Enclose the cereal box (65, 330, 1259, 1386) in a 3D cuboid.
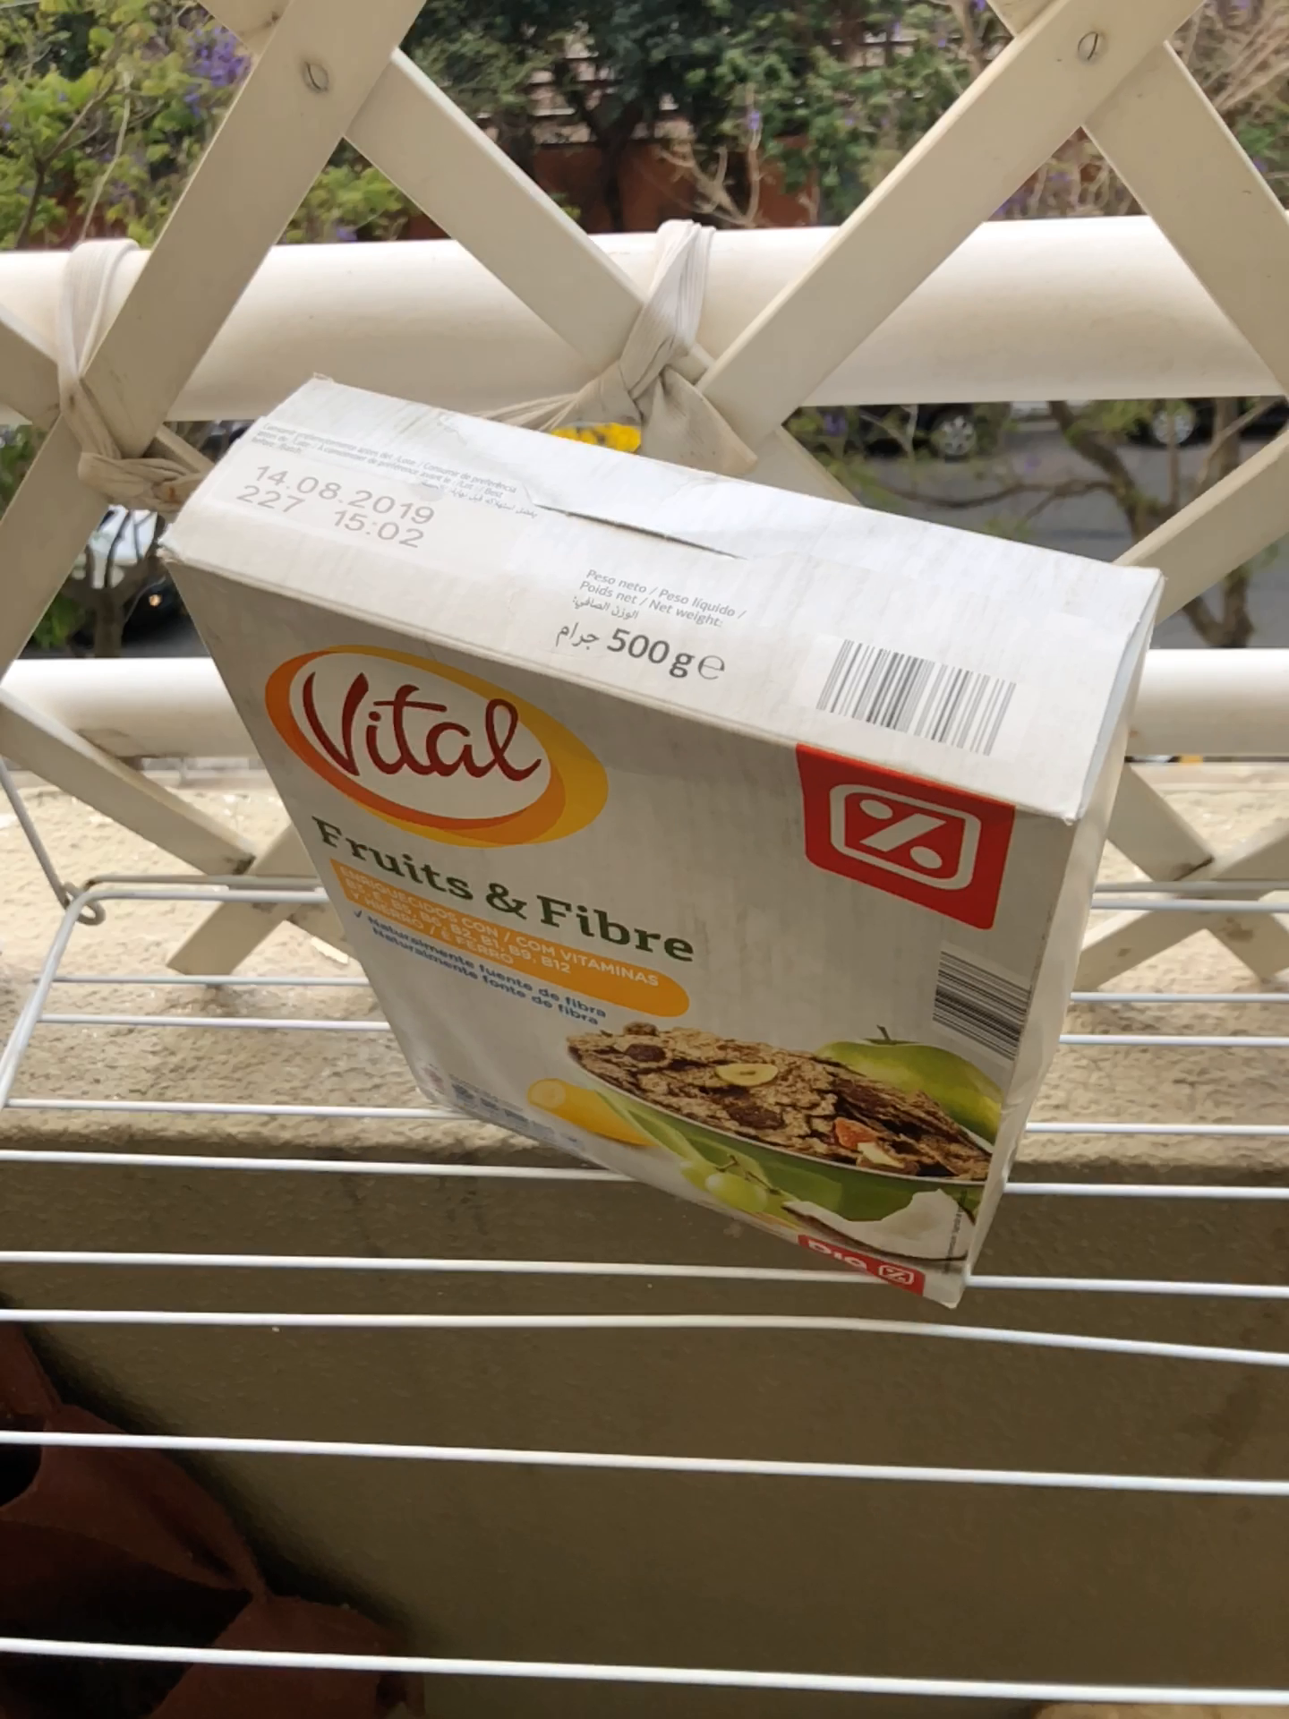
[{"bbox_3d":[0.010,0.020,0.370,0.210,0.268,0.070,19,59,20],"label":"cereal box"}]
